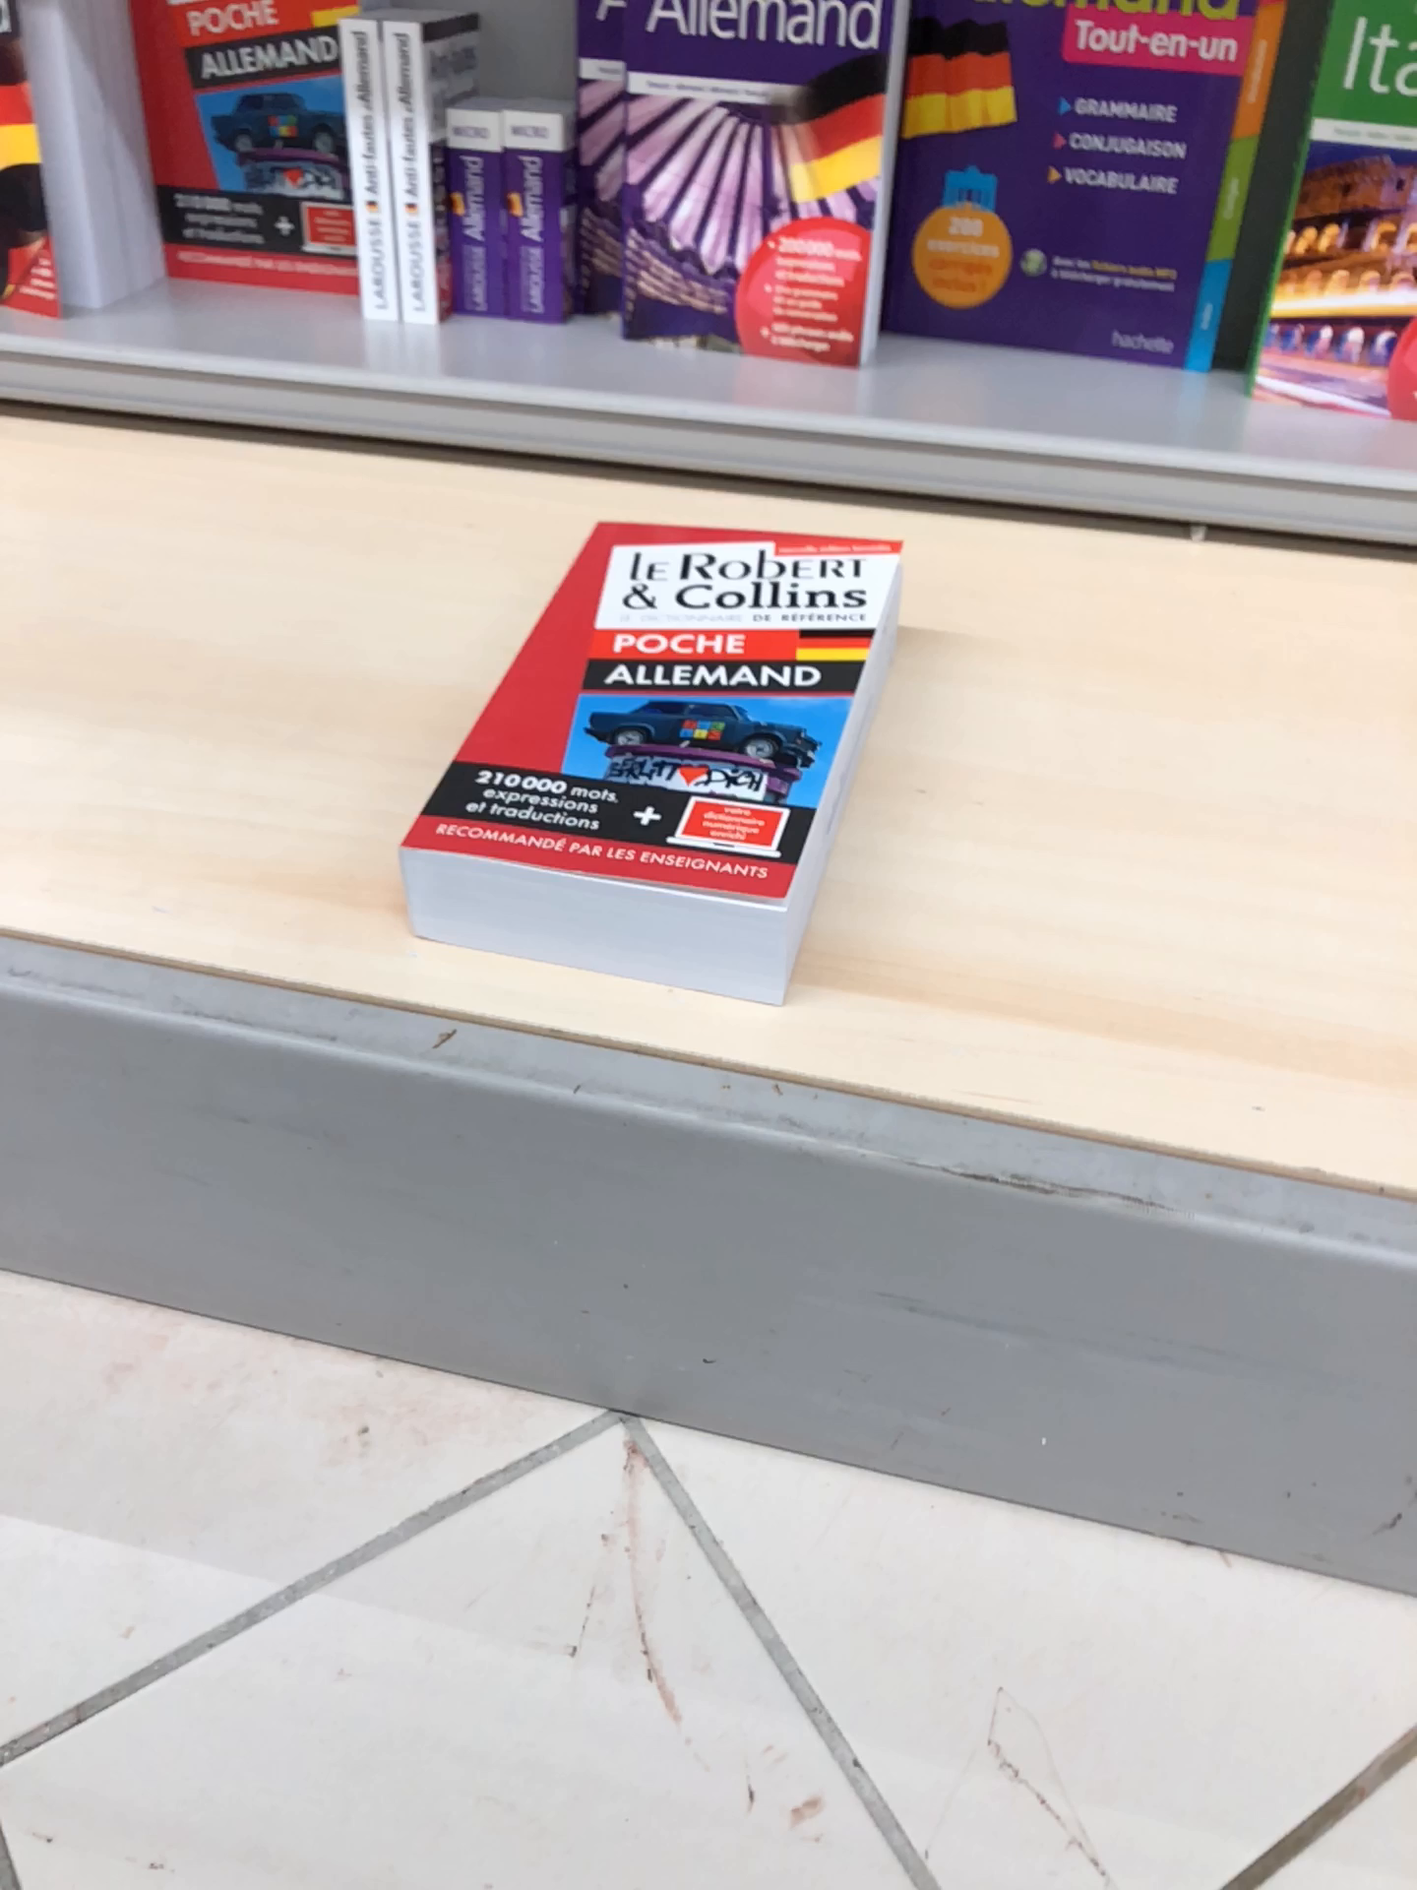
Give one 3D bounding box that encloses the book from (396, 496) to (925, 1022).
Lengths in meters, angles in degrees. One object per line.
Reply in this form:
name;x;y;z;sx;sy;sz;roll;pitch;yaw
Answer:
book;-0.004;-0.064;0.467;0.110;0.050;0.171;8;46;12
